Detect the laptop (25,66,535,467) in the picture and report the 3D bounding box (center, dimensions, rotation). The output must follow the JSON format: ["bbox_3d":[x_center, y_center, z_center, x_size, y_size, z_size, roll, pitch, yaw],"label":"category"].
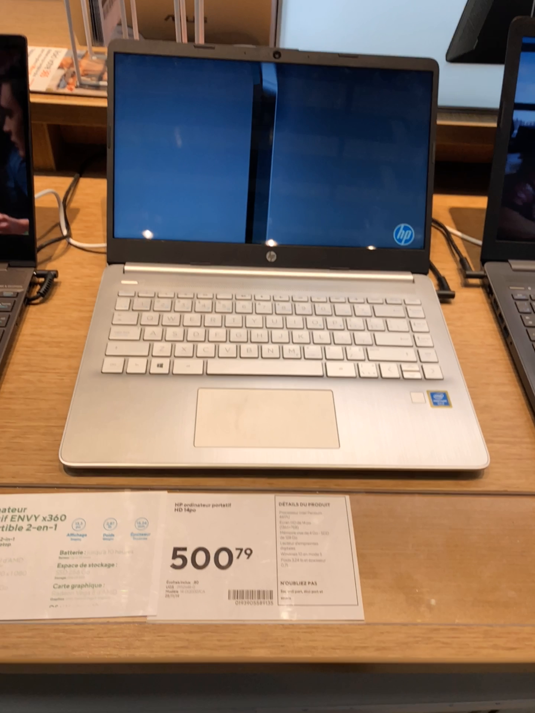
[{"bbox_3d":[0.014,-0.098,0.508,0.307,0.167,0.347,1,46,-1],"label":"laptop"}]
